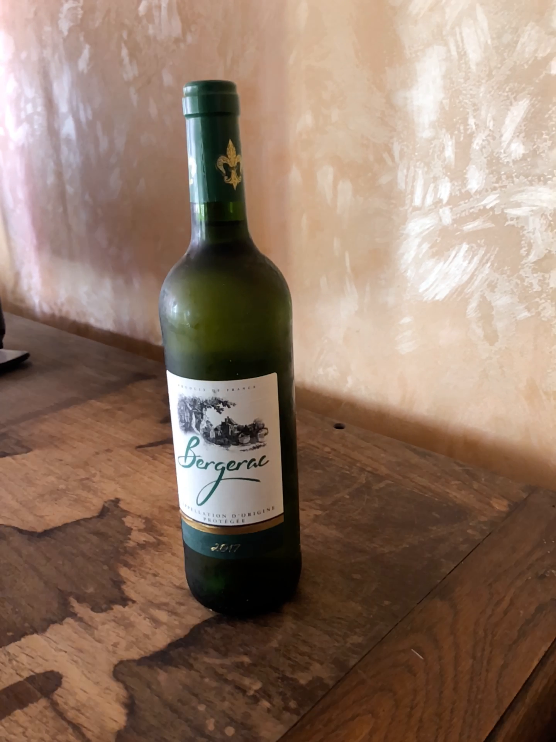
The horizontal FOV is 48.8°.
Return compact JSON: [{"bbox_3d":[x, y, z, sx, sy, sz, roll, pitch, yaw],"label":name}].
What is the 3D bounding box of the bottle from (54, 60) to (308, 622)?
[{"bbox_3d":[-0.037,-0.011,0.332,0.090,0.269,0.090,-1,19,0],"label":"bottle"}]
